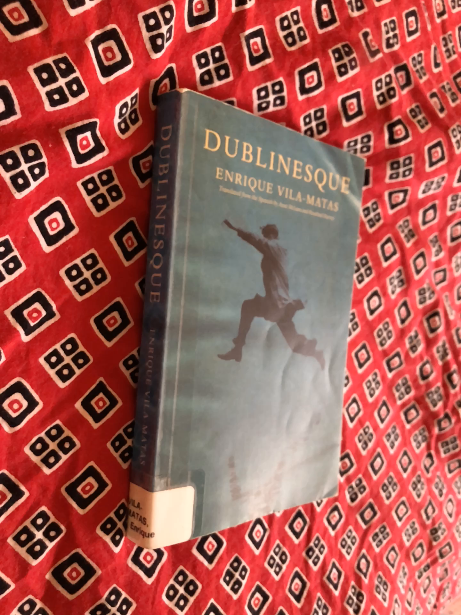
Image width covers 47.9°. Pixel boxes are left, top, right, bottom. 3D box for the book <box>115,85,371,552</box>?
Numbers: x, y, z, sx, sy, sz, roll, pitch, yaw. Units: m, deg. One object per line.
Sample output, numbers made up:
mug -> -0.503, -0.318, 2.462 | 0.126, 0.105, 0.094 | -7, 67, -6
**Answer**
book -> 0.015, 0.009, 0.276 | 0.138, 0.020, 0.203 | 4, 92, -40
